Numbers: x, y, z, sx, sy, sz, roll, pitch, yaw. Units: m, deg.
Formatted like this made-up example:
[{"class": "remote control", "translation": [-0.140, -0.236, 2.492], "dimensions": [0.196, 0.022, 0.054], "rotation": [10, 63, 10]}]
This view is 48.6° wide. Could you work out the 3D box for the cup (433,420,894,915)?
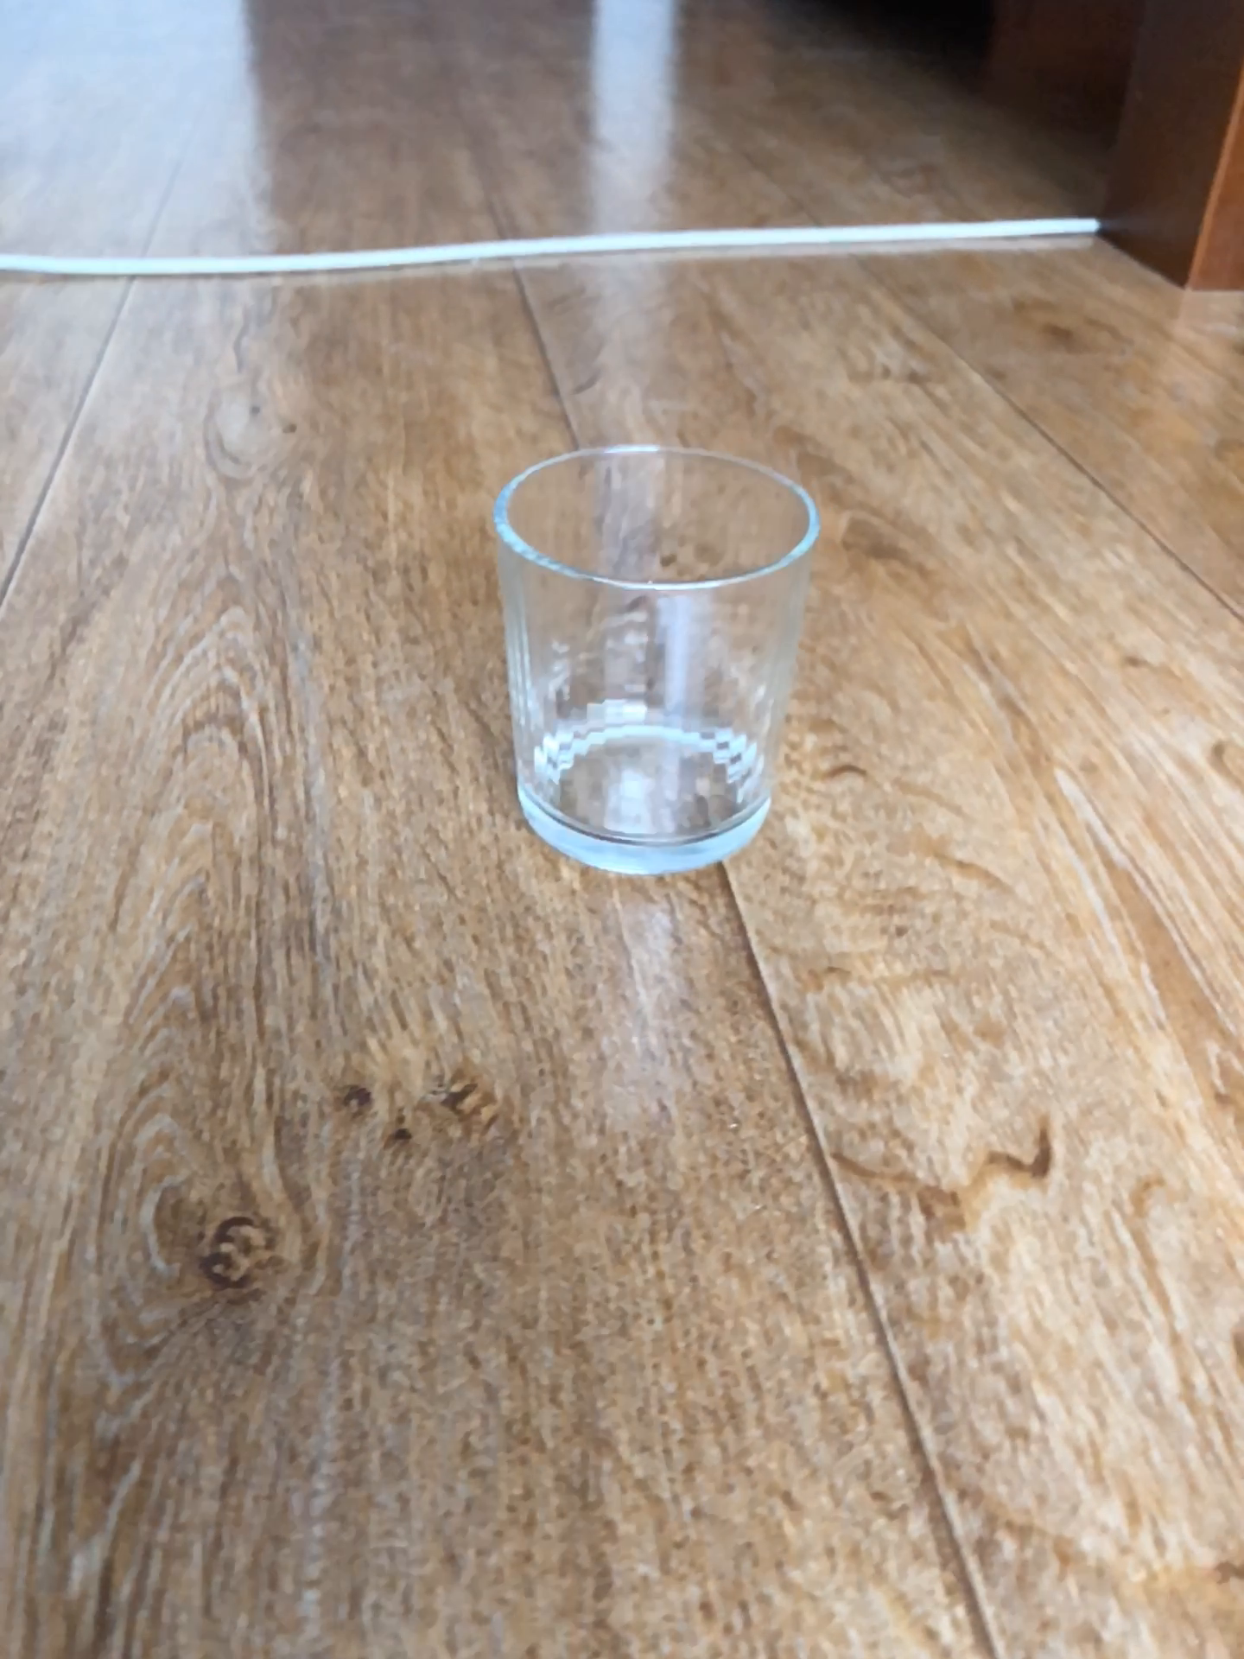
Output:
[{"class": "cup", "translation": [0.007, -0.043, 0.338], "dimensions": [0.078, 0.079, 0.076], "rotation": [1, 37, -1]}]
